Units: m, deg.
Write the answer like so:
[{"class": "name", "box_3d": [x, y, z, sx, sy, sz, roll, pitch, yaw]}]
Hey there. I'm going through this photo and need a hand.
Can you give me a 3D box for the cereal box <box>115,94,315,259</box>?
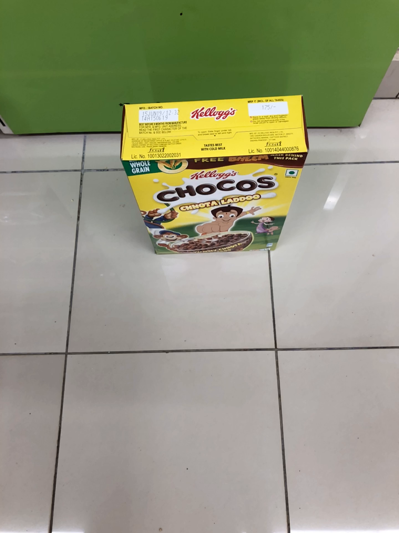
[{"class": "cereal box", "box_3d": [0.017, -0.091, 0.551, 0.190, 0.259, 0.070, -2, 70, 1]}]
